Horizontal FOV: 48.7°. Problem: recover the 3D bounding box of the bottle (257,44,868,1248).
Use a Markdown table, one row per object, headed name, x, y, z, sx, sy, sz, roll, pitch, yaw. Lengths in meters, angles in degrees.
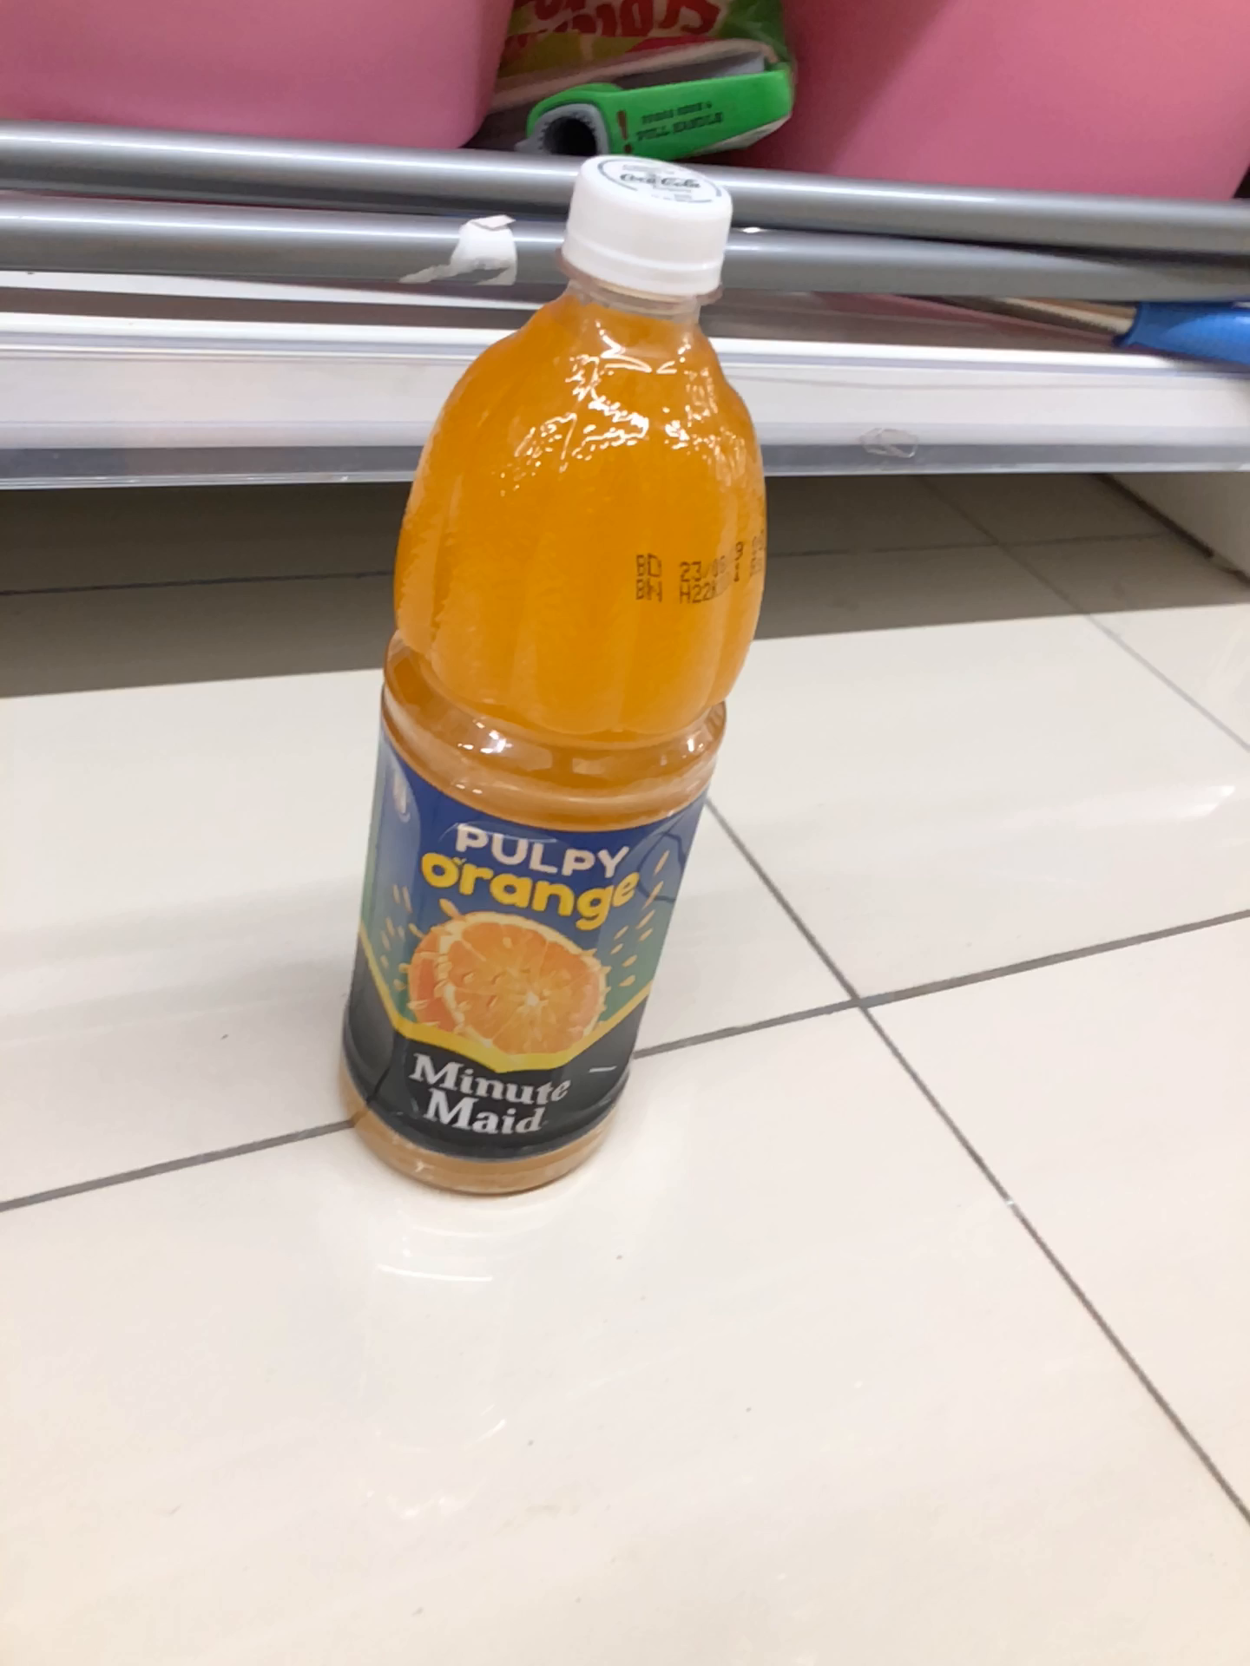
| name | x | y | z | sx | sy | sz | roll | pitch | yaw |
| --- | --- | --- | --- | --- | --- | --- | --- | --- | --- |
| bottle | -0.027 | -0.023 | 0.331 | 0.090 | 0.268 | 0.081 | 12 | 37 | -3 |
